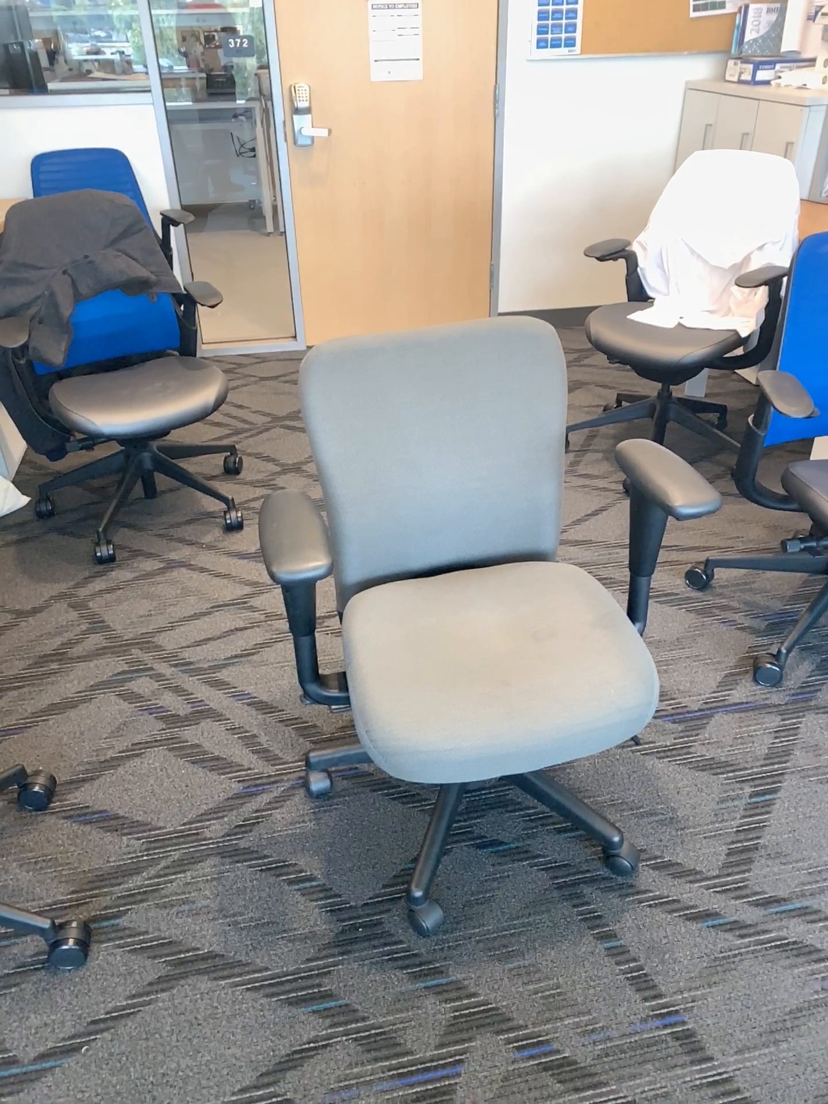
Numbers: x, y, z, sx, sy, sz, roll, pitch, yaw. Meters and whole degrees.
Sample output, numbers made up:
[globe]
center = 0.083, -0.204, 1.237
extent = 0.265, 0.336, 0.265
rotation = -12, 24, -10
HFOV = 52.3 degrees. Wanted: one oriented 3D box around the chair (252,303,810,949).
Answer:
[chair]
center = 0.107, 0.087, 1.478
extent = 0.670, 0.813, 0.666
rotation = -6, 32, -8
